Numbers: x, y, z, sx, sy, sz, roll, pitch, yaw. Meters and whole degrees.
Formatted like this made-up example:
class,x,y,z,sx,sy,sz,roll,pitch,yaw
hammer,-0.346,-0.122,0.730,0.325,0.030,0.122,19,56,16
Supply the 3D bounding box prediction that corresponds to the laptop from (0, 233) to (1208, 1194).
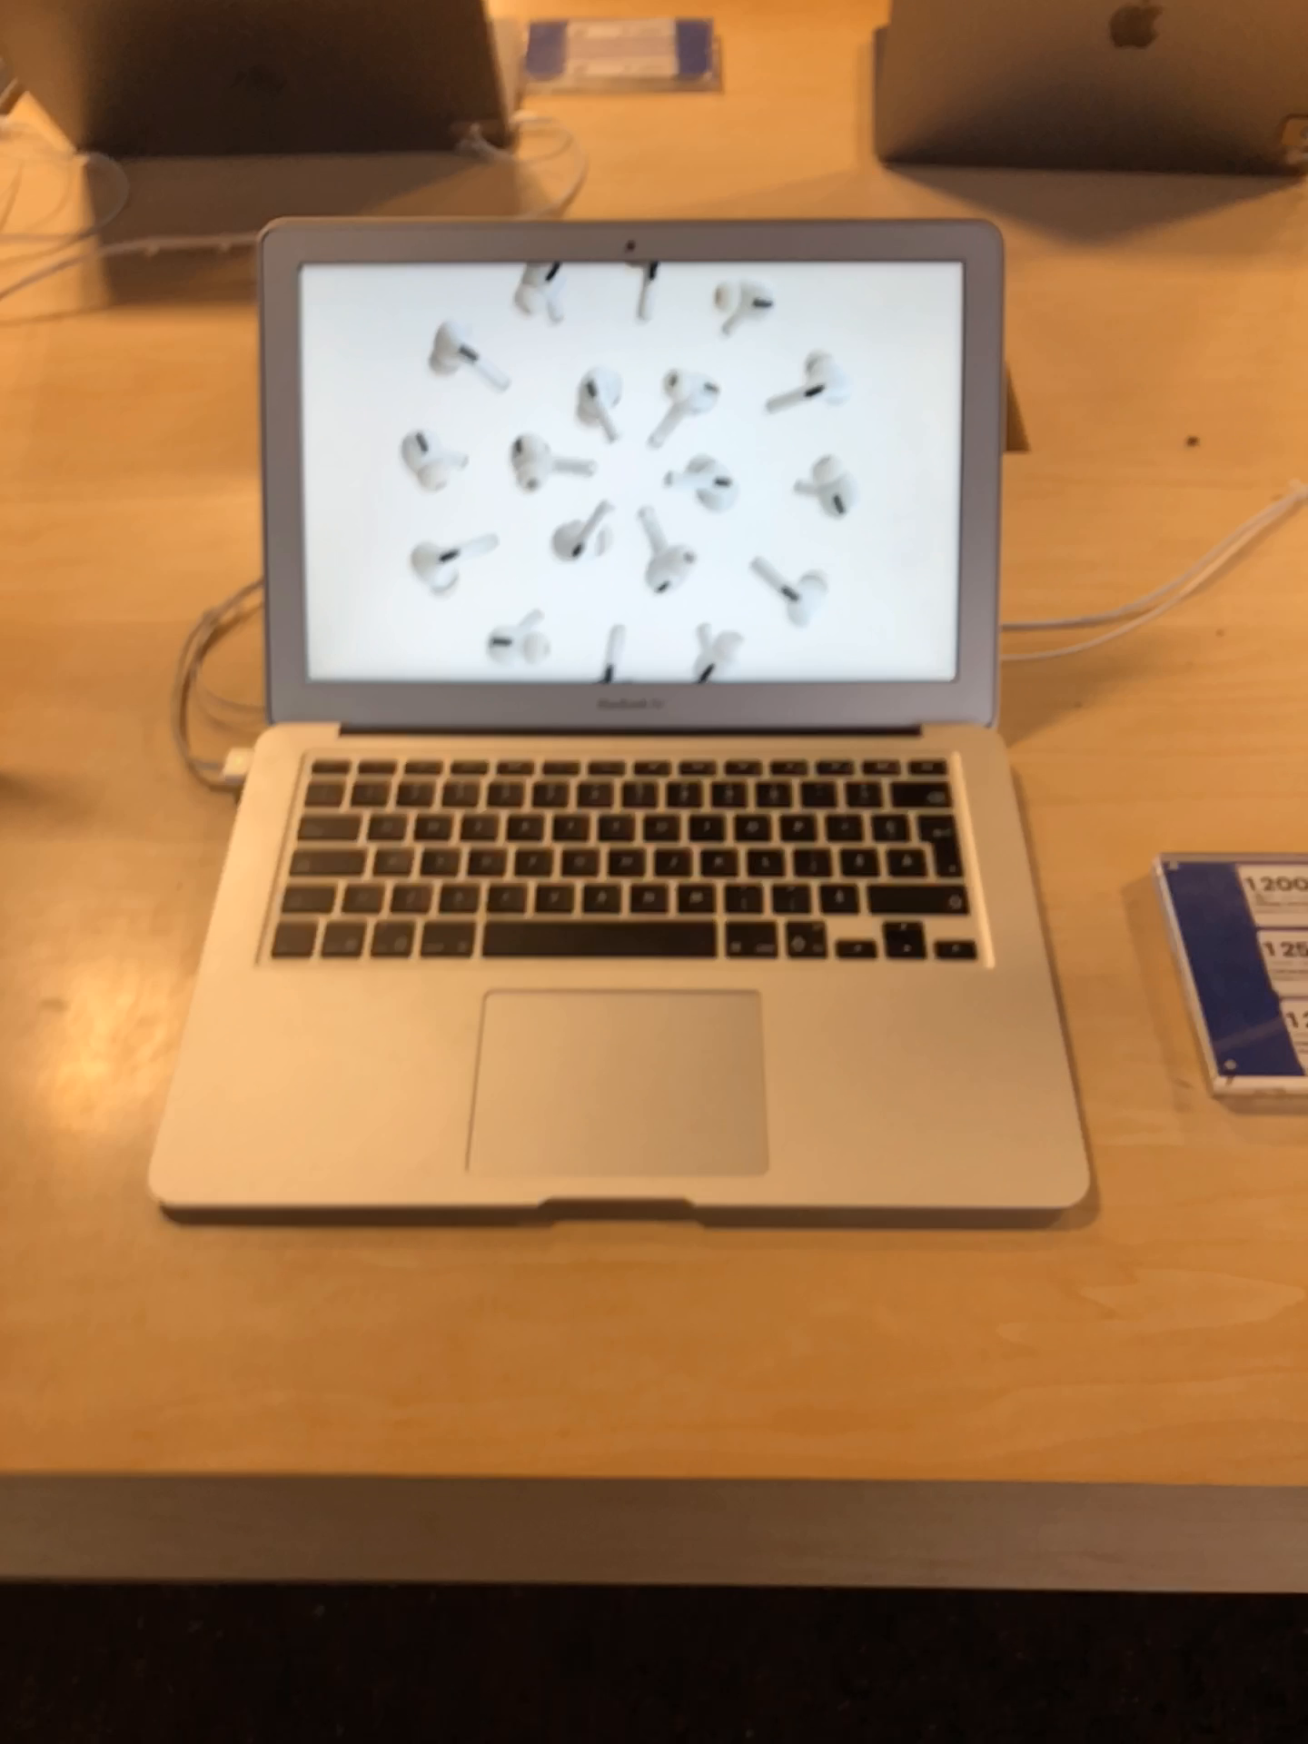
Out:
class,x,y,z,sx,sy,sz,roll,pitch,yaw
laptop,-0.011,-0.082,0.552,0.311,0.151,0.373,0,49,1
